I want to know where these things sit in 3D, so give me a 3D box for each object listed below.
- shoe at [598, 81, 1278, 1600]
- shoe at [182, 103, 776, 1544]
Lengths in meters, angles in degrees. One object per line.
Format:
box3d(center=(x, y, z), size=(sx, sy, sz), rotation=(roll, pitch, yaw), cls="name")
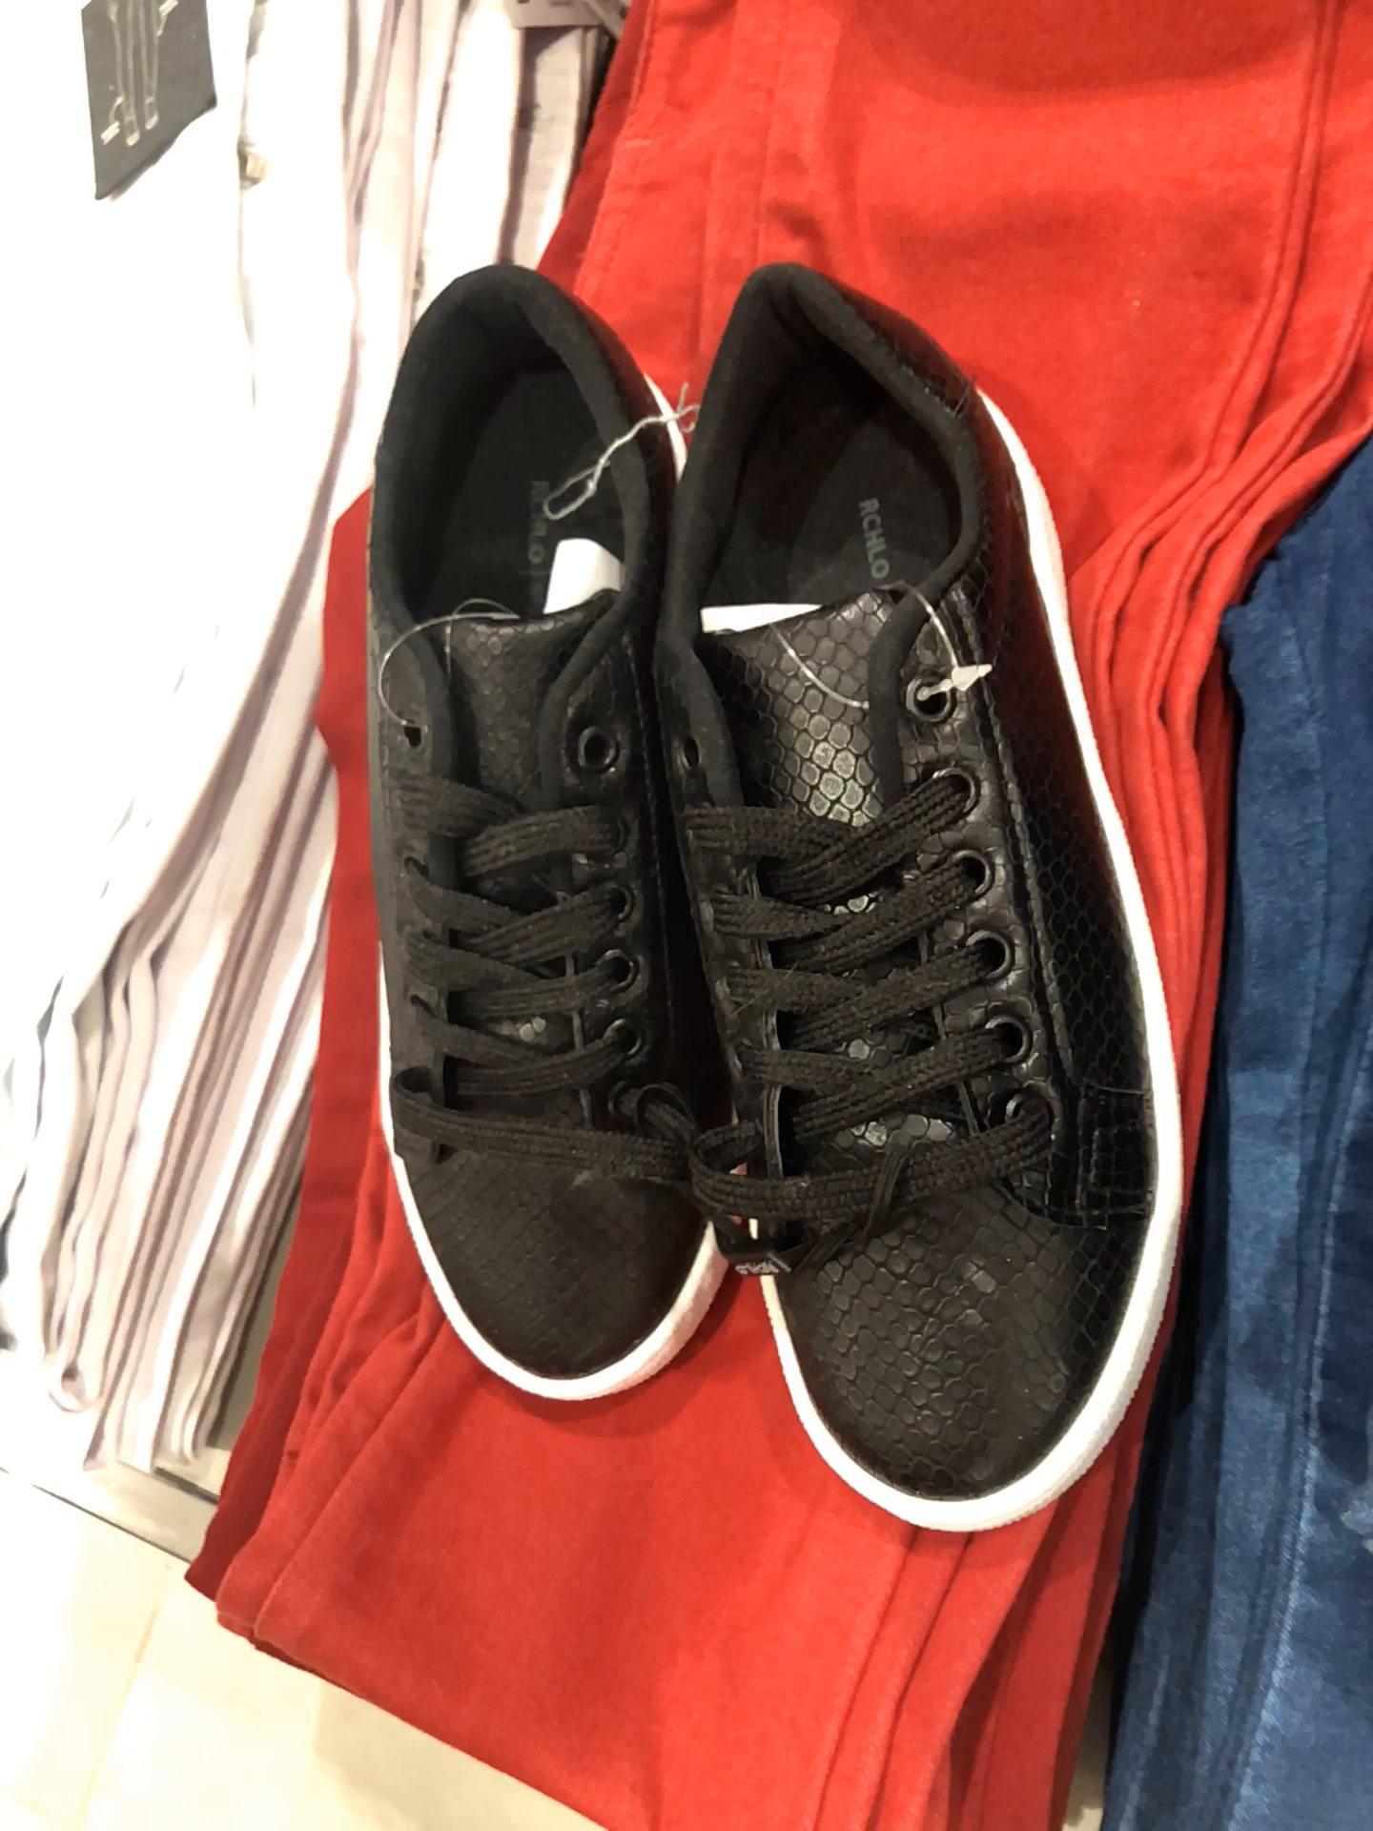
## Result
box3d(center=(0.046, -0.011, 0.295), size=(0.090, 0.100, 0.250), rotation=(-8, 71, 17), cls="shoe")
box3d(center=(-0.036, -0.016, 0.324), size=(0.090, 0.100, 0.250), rotation=(-1, 86, 15), cls="shoe")
